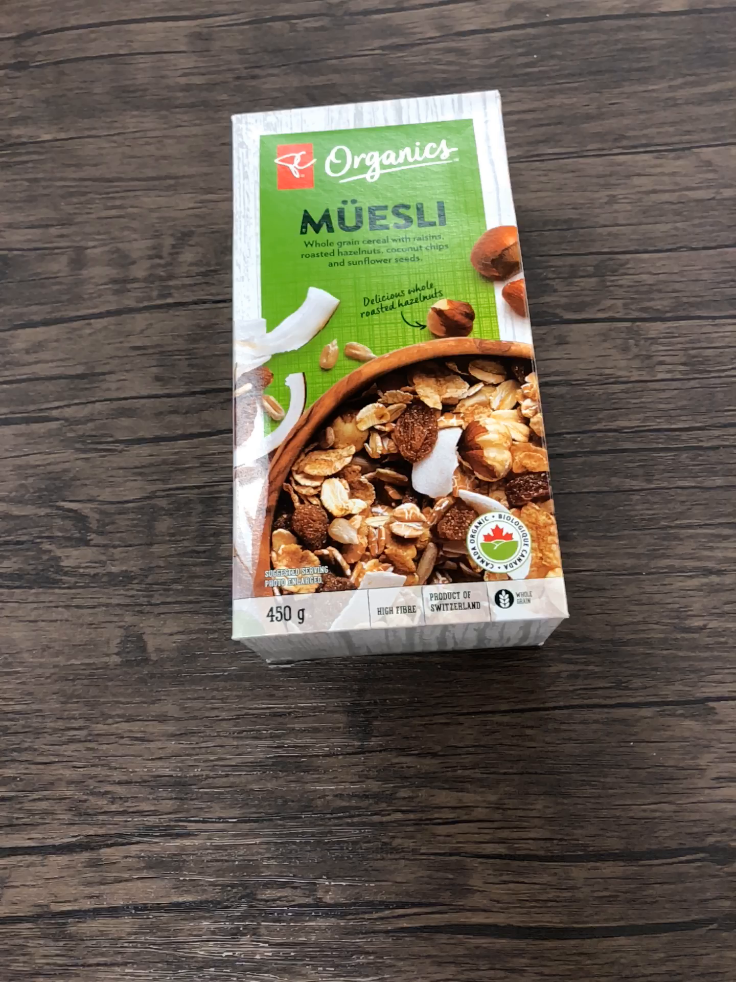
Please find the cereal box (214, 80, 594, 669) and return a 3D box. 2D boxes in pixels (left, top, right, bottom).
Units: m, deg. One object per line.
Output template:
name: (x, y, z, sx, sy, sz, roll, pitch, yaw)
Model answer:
cereal box: (0.008, -0.049, 0.348, 0.130, 0.070, 0.230, -4, 72, 3)
